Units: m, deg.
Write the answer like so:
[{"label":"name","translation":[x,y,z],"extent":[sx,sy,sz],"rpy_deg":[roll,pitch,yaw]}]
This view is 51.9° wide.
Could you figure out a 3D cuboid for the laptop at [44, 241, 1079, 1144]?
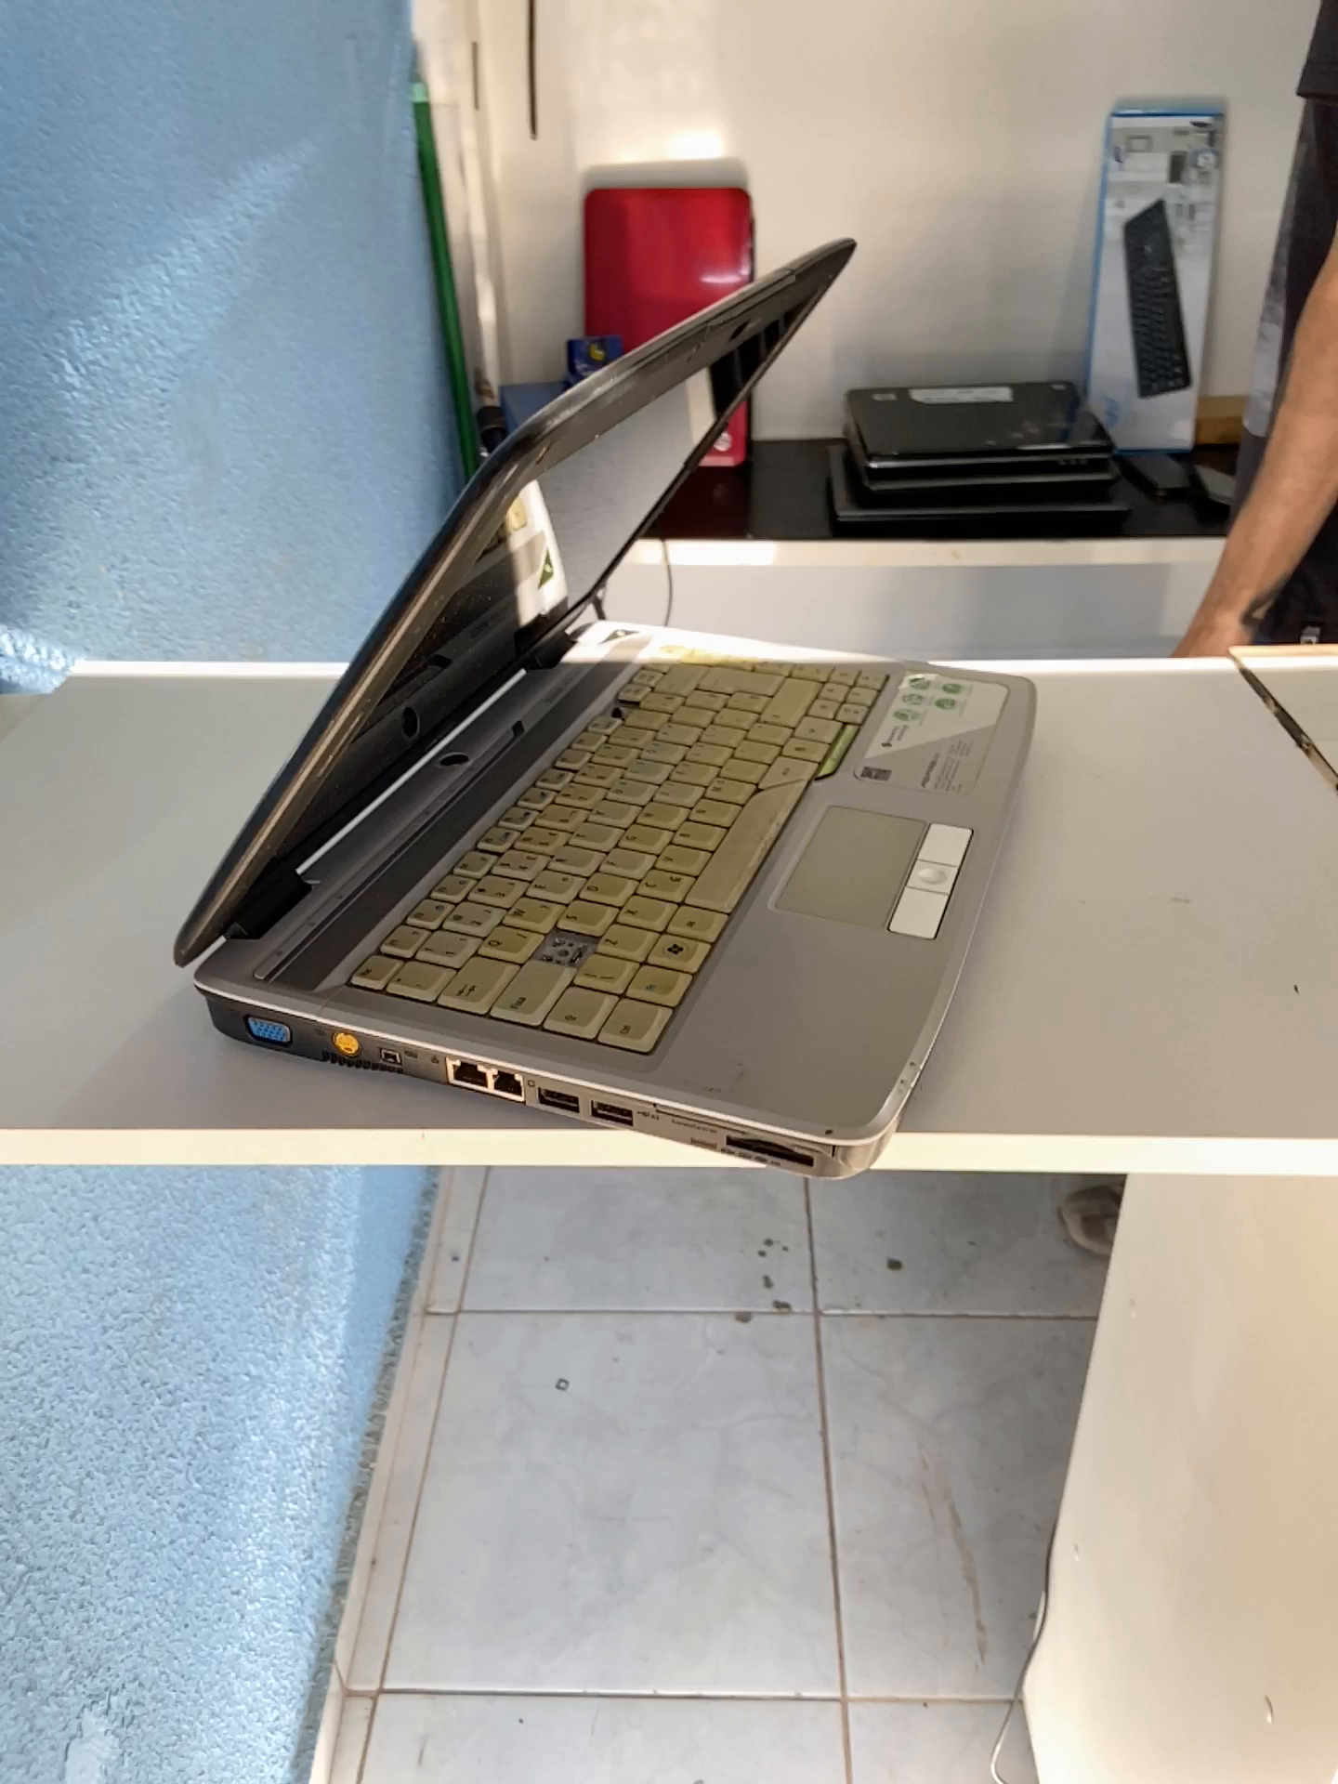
[{"label":"laptop","translation":[0.004,-0.110,0.502],"extent":[0.225,0.179,0.330],"rpy_deg":[11,35,17]}]
